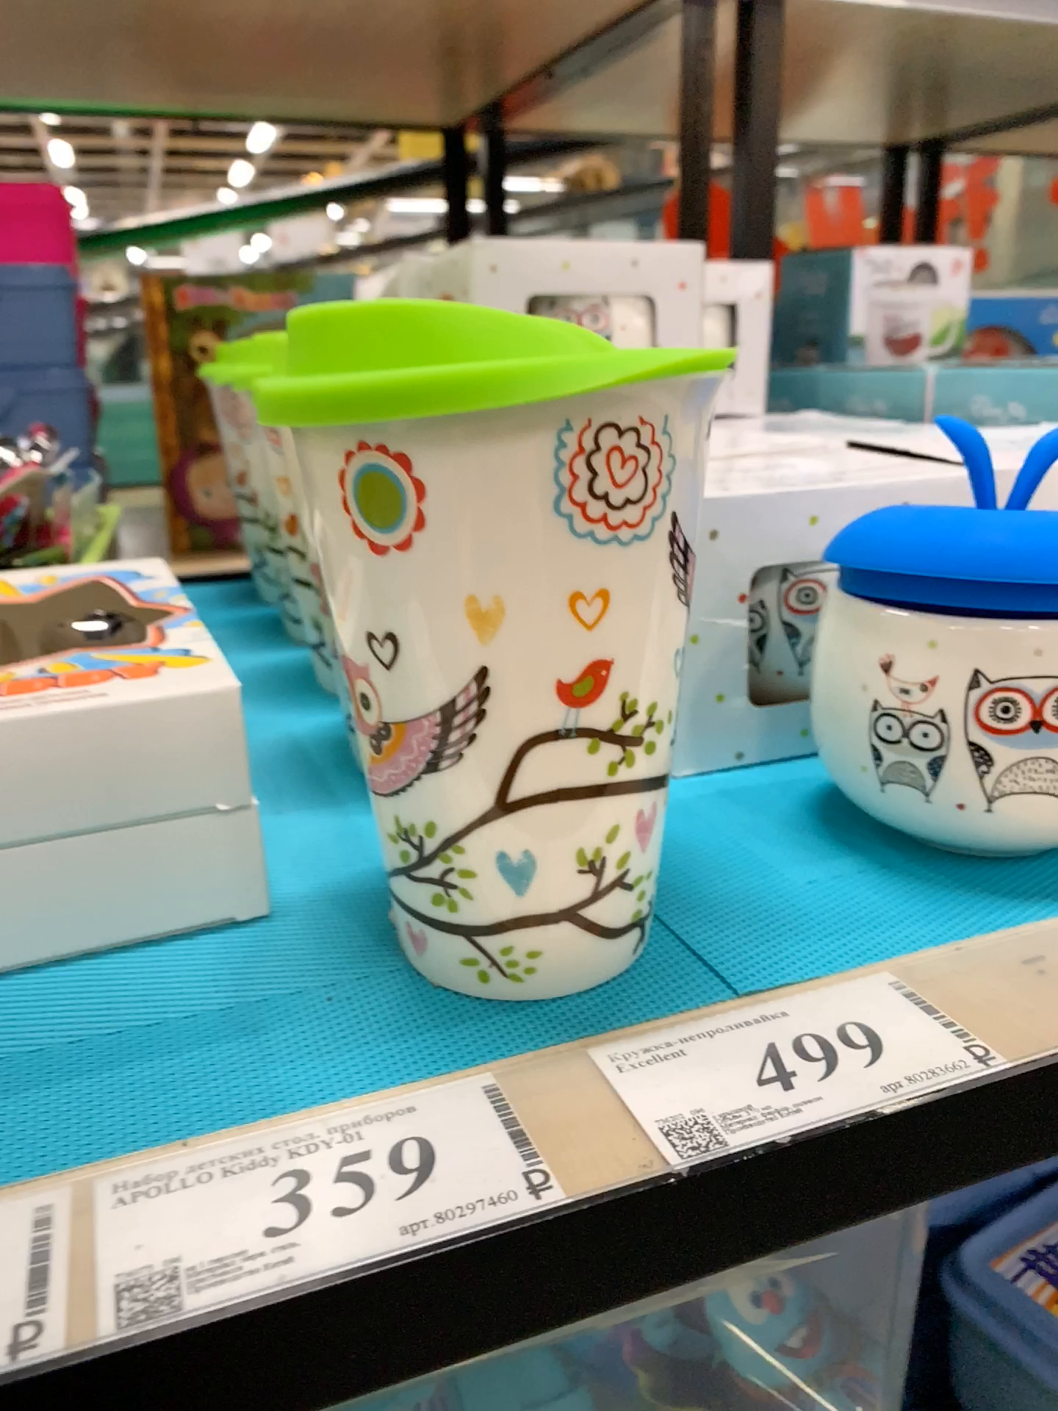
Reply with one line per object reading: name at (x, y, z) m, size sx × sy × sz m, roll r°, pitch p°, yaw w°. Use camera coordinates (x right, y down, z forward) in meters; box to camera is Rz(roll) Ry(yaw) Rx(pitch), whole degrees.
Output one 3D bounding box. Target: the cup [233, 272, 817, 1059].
cup at (-0.004, -0.017, 0.239) m, size 0.090 × 0.136 × 0.084 m, roll -2°, pitch 17°, yaw 0°
